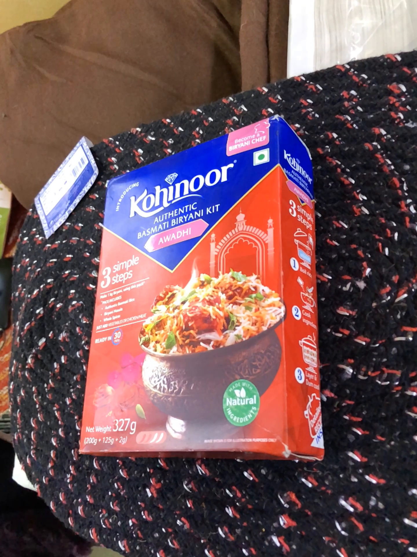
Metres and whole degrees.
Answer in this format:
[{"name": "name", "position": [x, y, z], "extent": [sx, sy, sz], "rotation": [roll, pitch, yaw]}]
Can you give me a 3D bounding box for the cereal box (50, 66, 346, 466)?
[{"name": "cereal box", "position": [-0.011, 0.000, 0.247], "extent": [0.140, 0.040, 0.180], "rotation": [-14, 65, 32]}]
